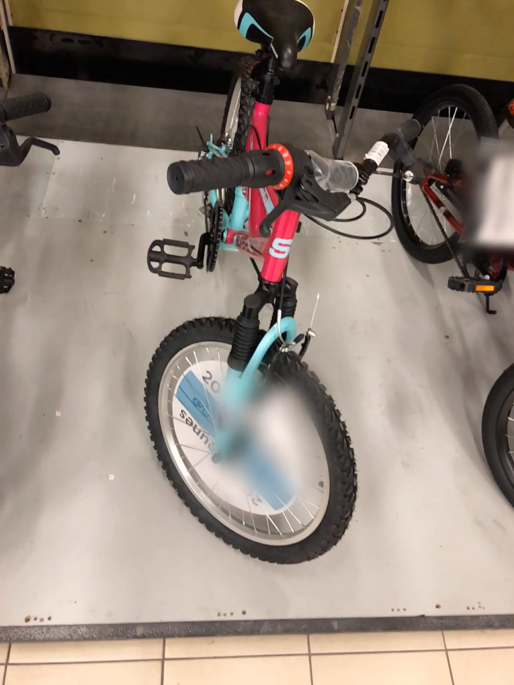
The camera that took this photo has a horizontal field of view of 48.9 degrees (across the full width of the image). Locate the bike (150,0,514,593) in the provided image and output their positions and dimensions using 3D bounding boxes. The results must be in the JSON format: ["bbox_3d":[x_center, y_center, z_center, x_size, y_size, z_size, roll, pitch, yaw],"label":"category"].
[{"bbox_3d":[0.111,-0.238,1.177,0.563,0.764,1.218,-3,58,-11],"label":"bike"}]
